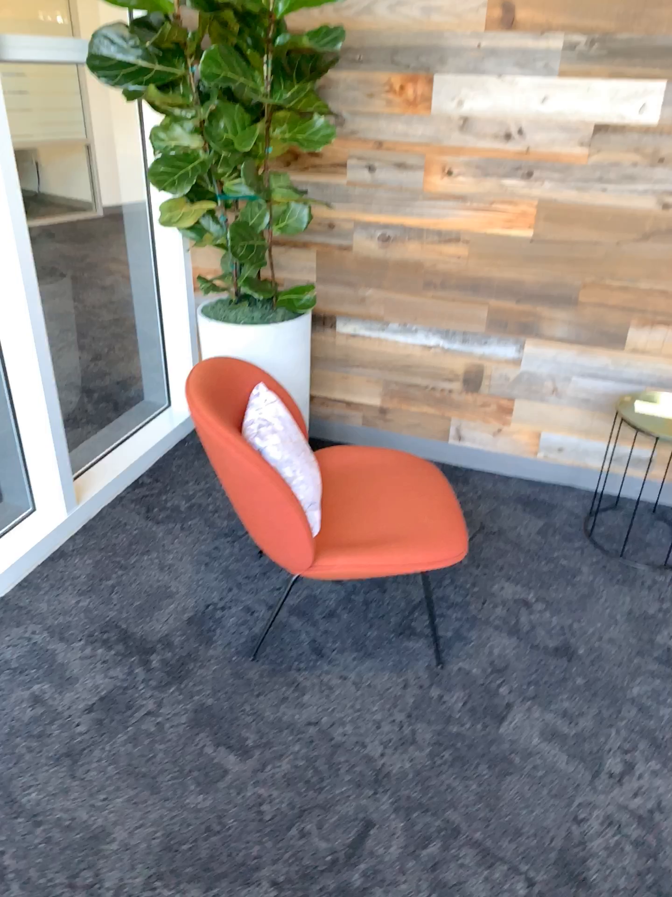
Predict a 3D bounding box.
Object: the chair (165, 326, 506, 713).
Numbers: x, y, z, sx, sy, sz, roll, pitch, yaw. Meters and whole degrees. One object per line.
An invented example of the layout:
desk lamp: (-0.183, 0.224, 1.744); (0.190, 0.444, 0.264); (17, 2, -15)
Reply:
chair: (-0.024, 0.160, 1.903); (0.700, 0.795, 0.704); (0, 29, -3)
